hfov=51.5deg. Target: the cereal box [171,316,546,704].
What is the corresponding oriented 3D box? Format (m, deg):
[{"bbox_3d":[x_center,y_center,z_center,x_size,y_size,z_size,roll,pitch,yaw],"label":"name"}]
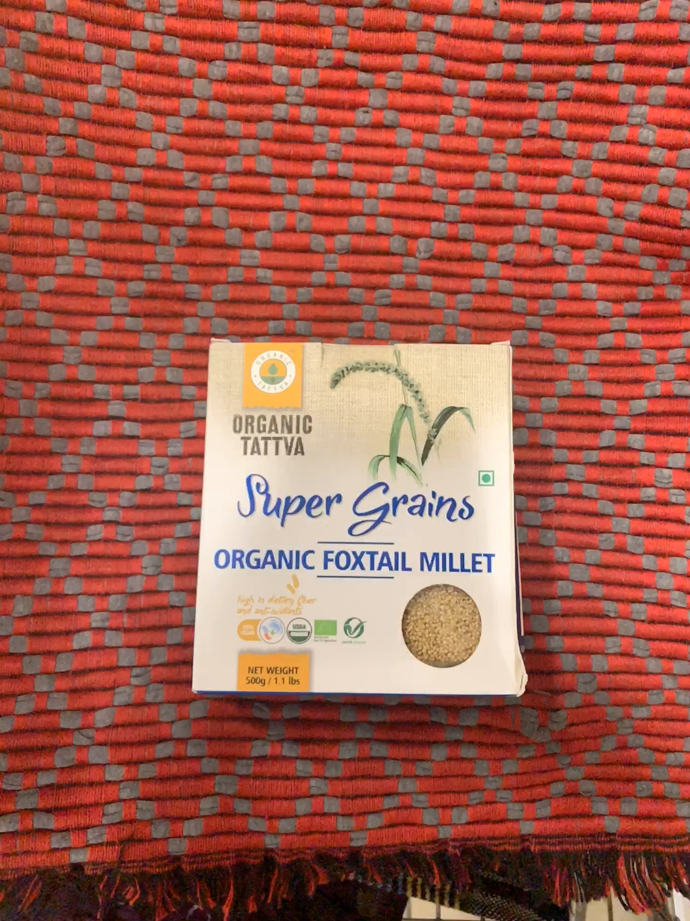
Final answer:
[{"bbox_3d":[0.006,0.020,0.308,0.140,0.060,0.150,1,81,1],"label":"cereal box"}]
